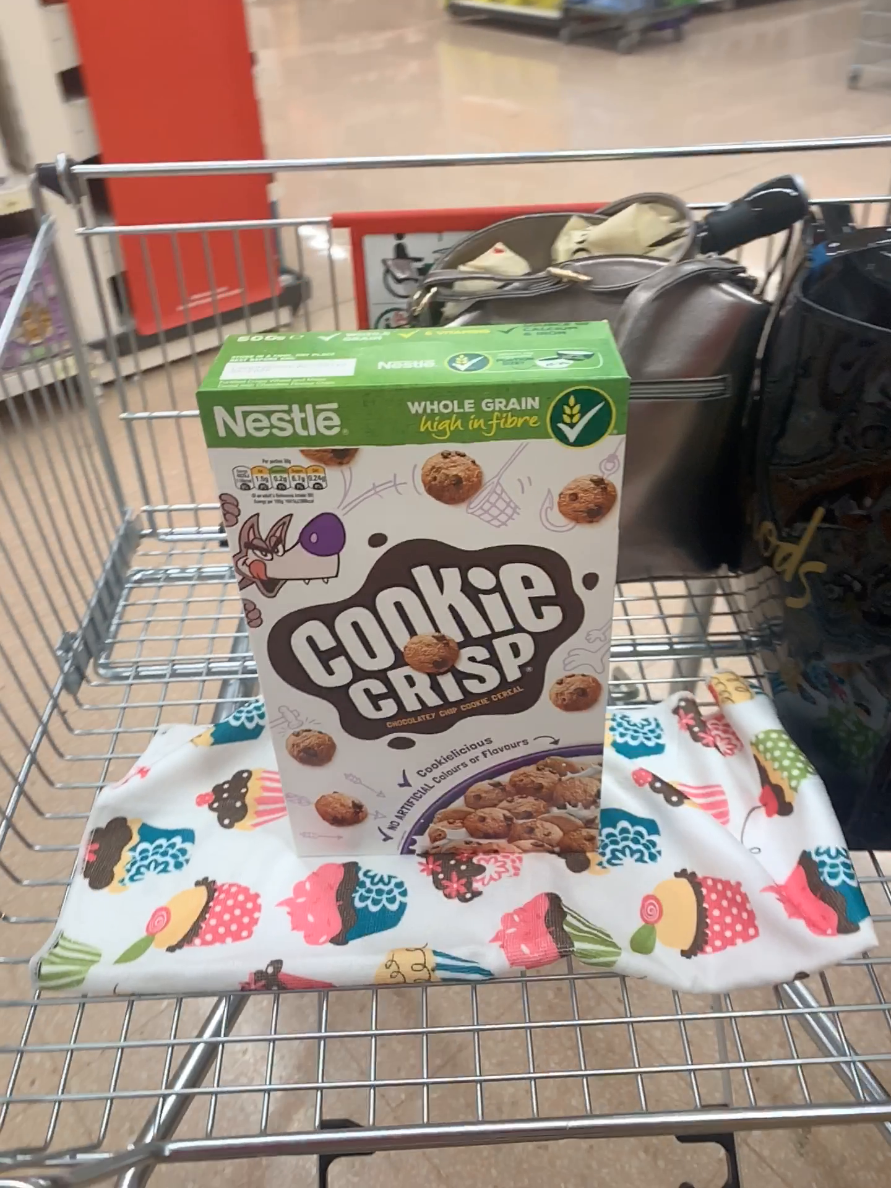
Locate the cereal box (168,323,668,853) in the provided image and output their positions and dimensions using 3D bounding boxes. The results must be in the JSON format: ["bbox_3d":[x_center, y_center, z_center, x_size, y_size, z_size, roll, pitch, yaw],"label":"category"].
[{"bbox_3d":[-0.010,0.013,0.515,0.220,0.307,0.071,-1,34,0],"label":"cereal box"}]
